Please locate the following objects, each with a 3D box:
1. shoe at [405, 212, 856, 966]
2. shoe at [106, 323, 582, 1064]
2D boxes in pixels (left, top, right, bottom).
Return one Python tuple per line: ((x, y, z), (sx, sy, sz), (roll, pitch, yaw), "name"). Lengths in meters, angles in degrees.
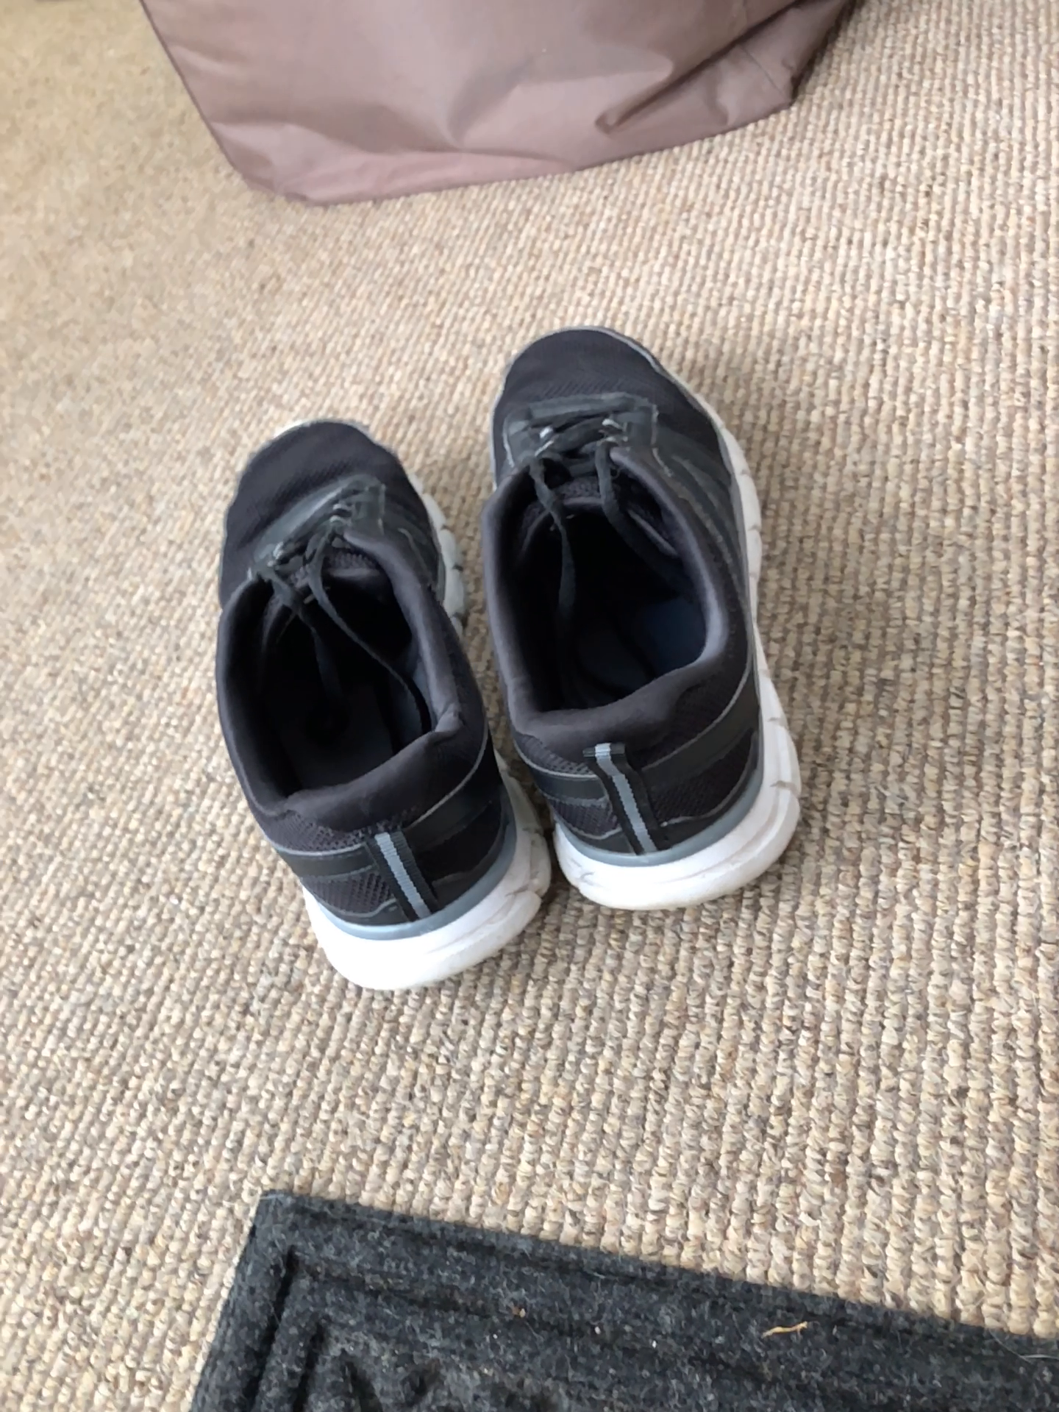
((0.029, -0.059, 0.462), (0.120, 0.110, 0.277), (-14, 49, 8), "shoe")
((-0.086, -0.022, 0.471), (0.118, 0.100, 0.277), (-22, 48, 1), "shoe")
